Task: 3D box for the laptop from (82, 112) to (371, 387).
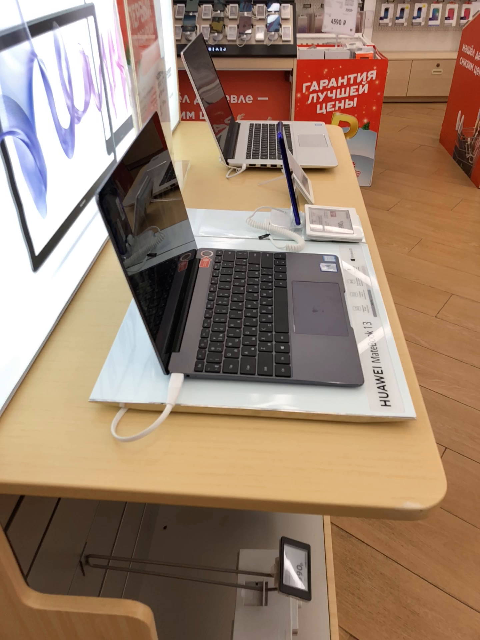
[{"bbox_3d":[-0.004,-0.099,0.605,0.244,0.192,0.276,3,35,2],"label":"laptop"}]
